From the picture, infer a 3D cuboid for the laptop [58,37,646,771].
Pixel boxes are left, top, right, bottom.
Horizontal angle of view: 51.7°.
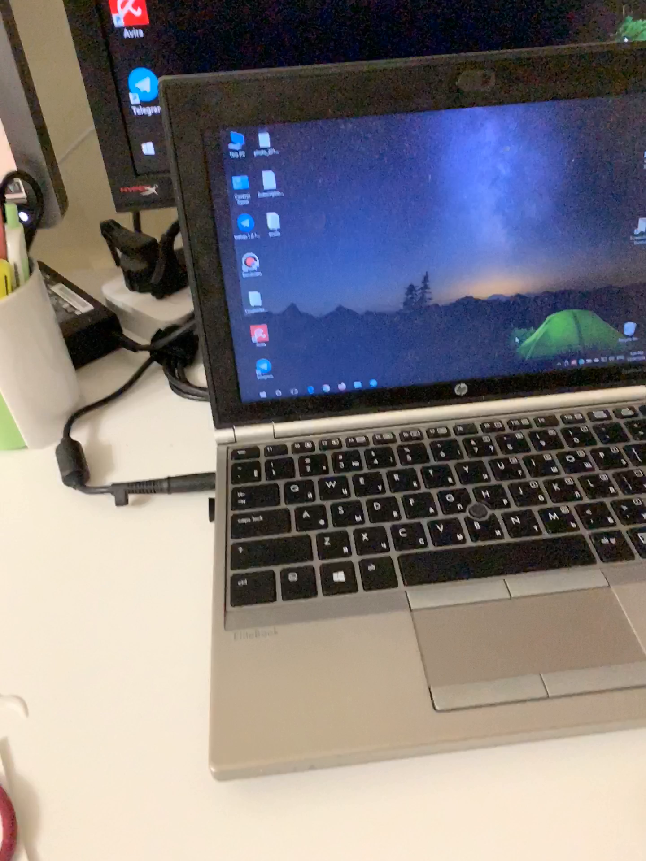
[{"bbox_3d":[0.082,-0.031,0.279,0.283,0.175,0.227,-6,41,-3],"label":"laptop"}]
